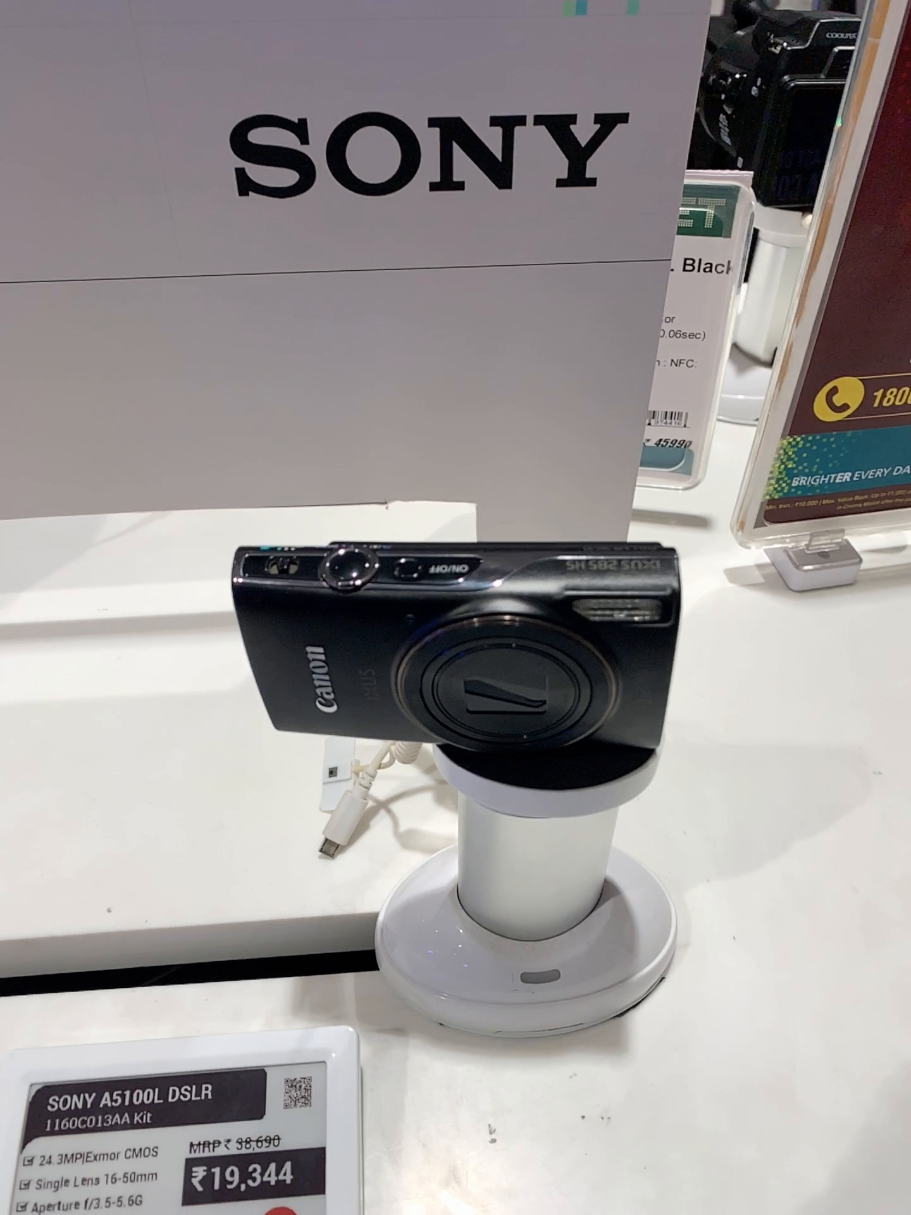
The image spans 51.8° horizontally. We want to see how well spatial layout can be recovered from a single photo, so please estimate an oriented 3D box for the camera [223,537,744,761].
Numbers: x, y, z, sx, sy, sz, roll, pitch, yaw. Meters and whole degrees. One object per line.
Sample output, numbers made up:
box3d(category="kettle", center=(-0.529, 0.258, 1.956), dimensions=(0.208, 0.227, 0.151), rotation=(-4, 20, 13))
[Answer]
box3d(category="camera", center=(0.005, 0.010, 0.205), dimensions=(0.100, 0.050, 0.020), rotation=(0, 45, 0))
